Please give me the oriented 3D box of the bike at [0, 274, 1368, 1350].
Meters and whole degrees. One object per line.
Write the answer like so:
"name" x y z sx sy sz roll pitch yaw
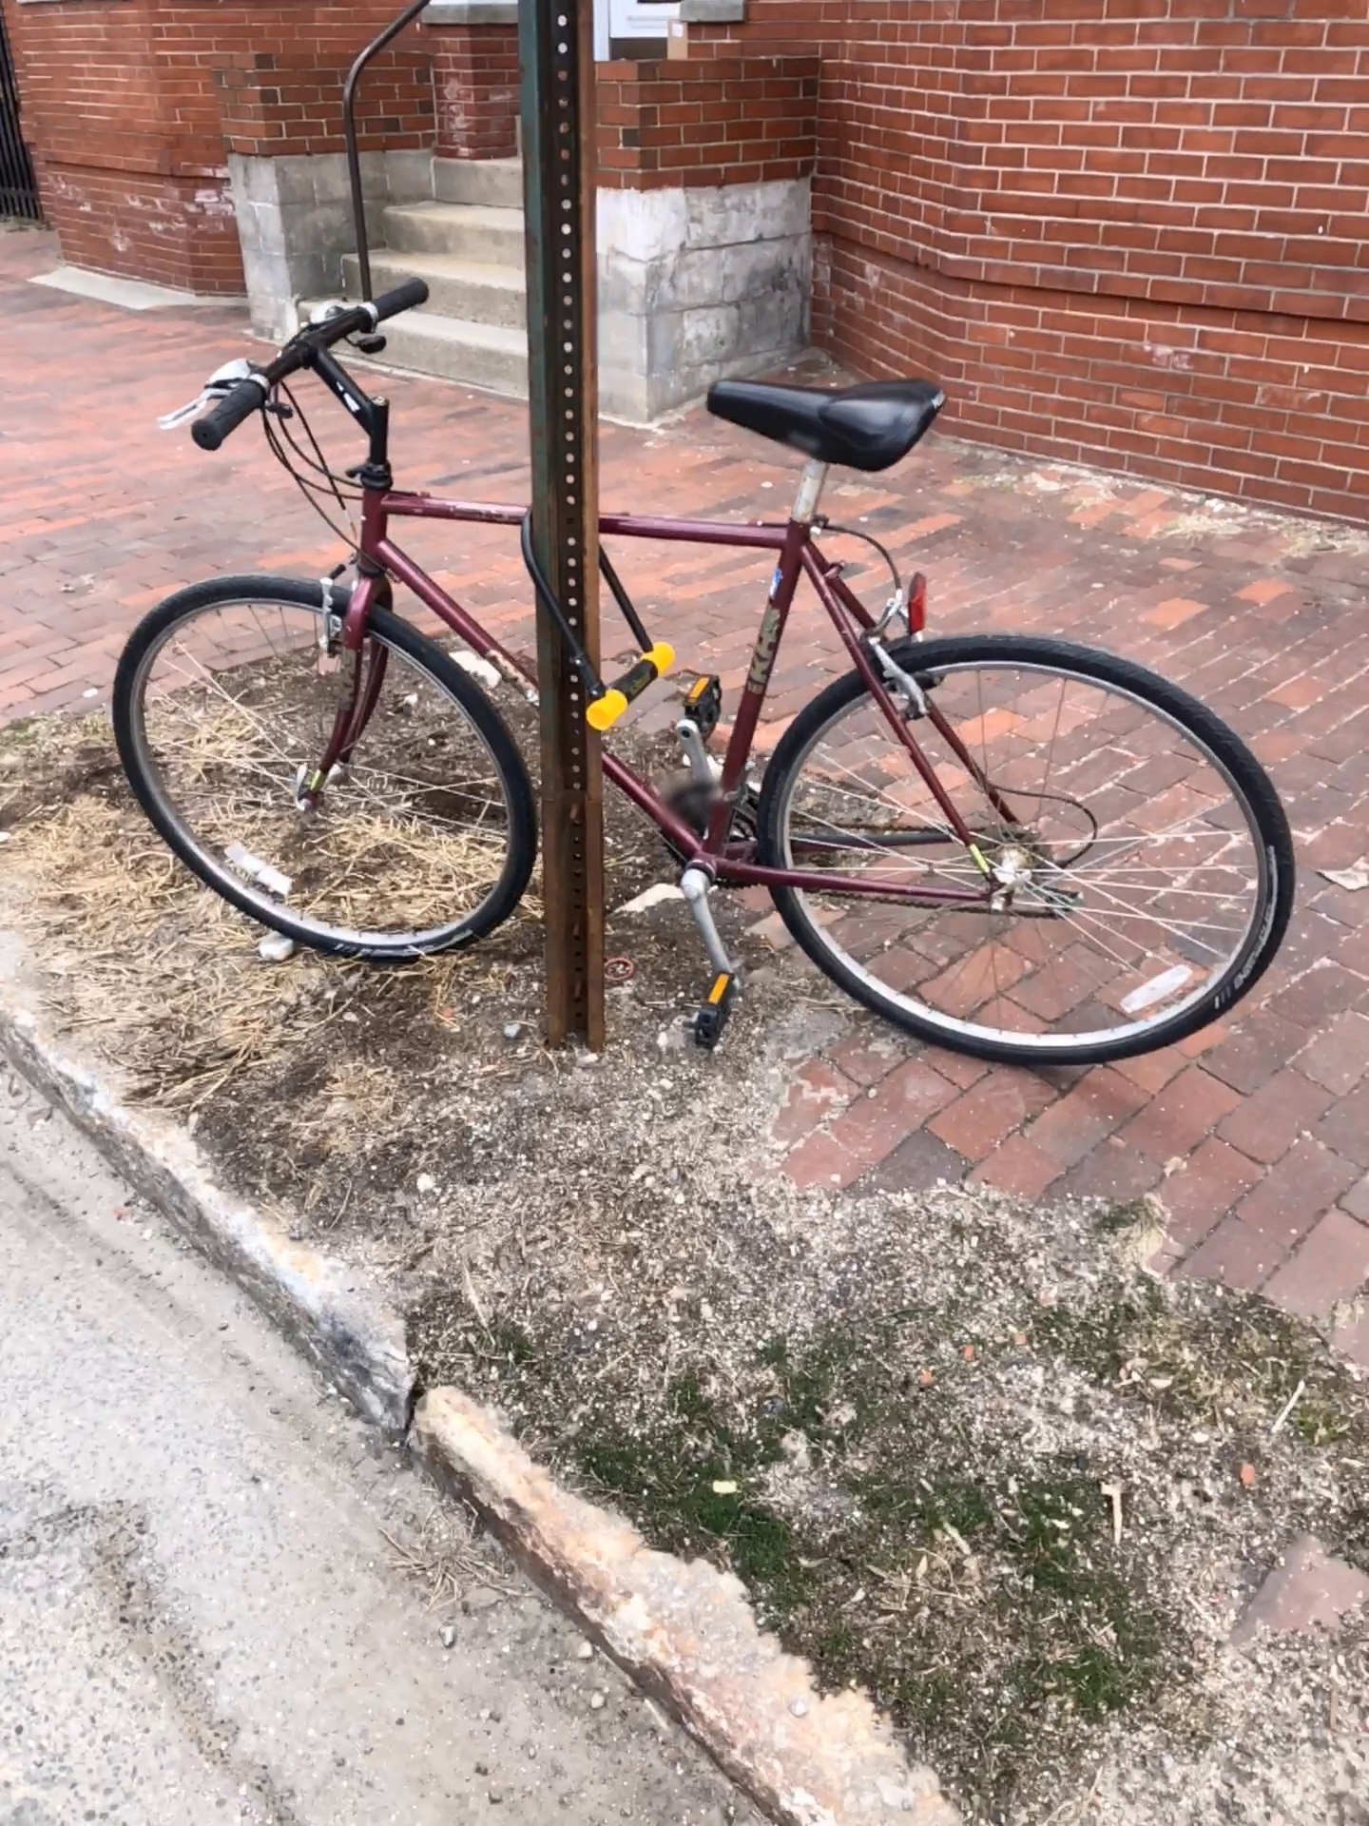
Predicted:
"bike" -0.076 -0.234 1.985 1.727 1.011 0.672 10 31 17
